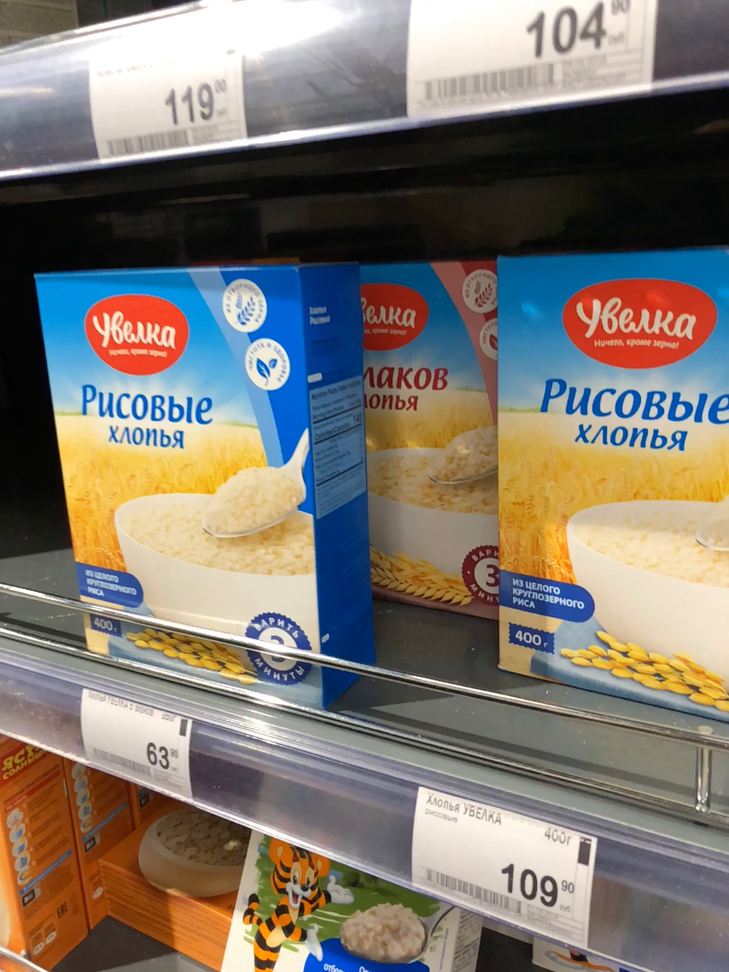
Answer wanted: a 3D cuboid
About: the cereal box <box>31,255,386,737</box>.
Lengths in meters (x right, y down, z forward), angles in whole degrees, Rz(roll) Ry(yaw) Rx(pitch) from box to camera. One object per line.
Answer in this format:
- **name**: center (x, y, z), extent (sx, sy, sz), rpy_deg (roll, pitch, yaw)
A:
- **cereal box**: center (-0.069, -0.002, 0.379), extent (0.140, 0.199, 0.060), rpy_deg (6, 17, 26)
